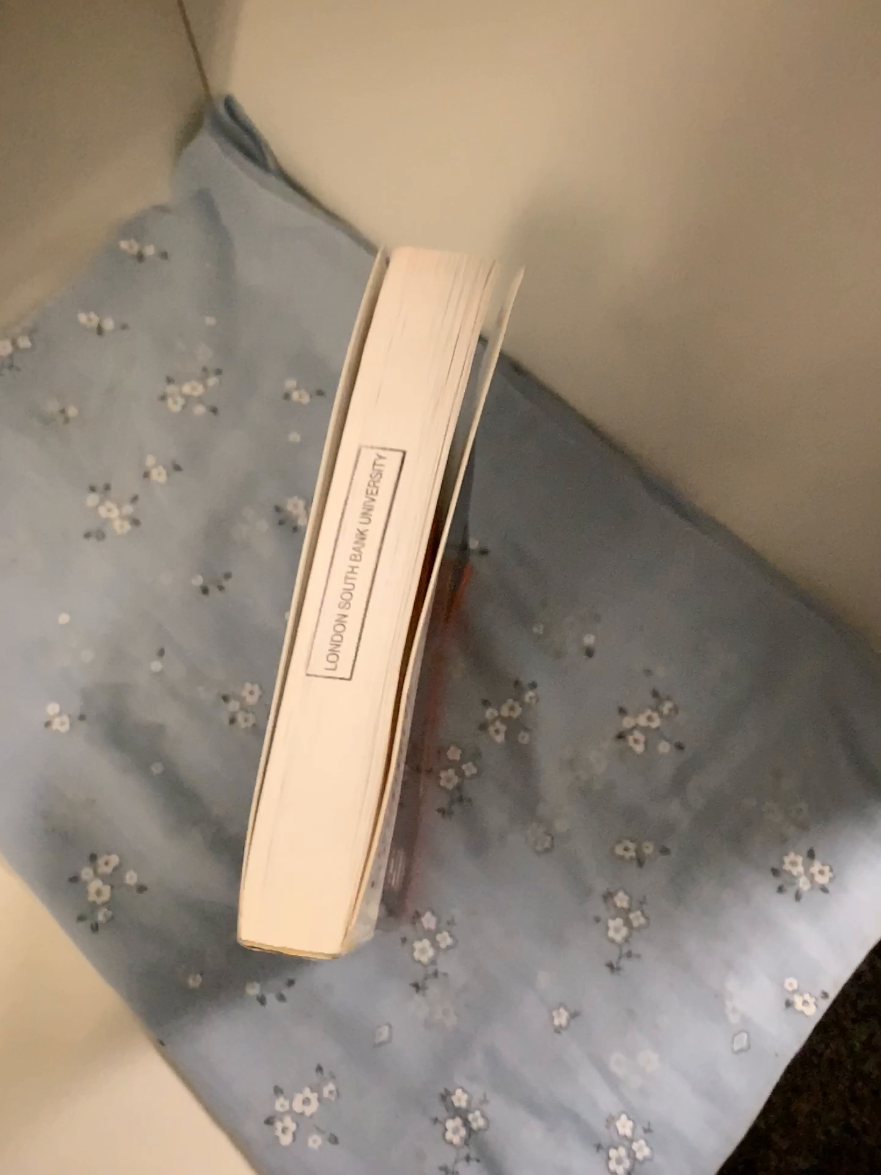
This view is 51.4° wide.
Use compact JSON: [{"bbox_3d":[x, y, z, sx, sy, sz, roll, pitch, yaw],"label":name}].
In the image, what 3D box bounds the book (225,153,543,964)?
[{"bbox_3d":[-0.008,0.021,0.359,0.040,0.271,0.216,9,71,3],"label":"book"}]
